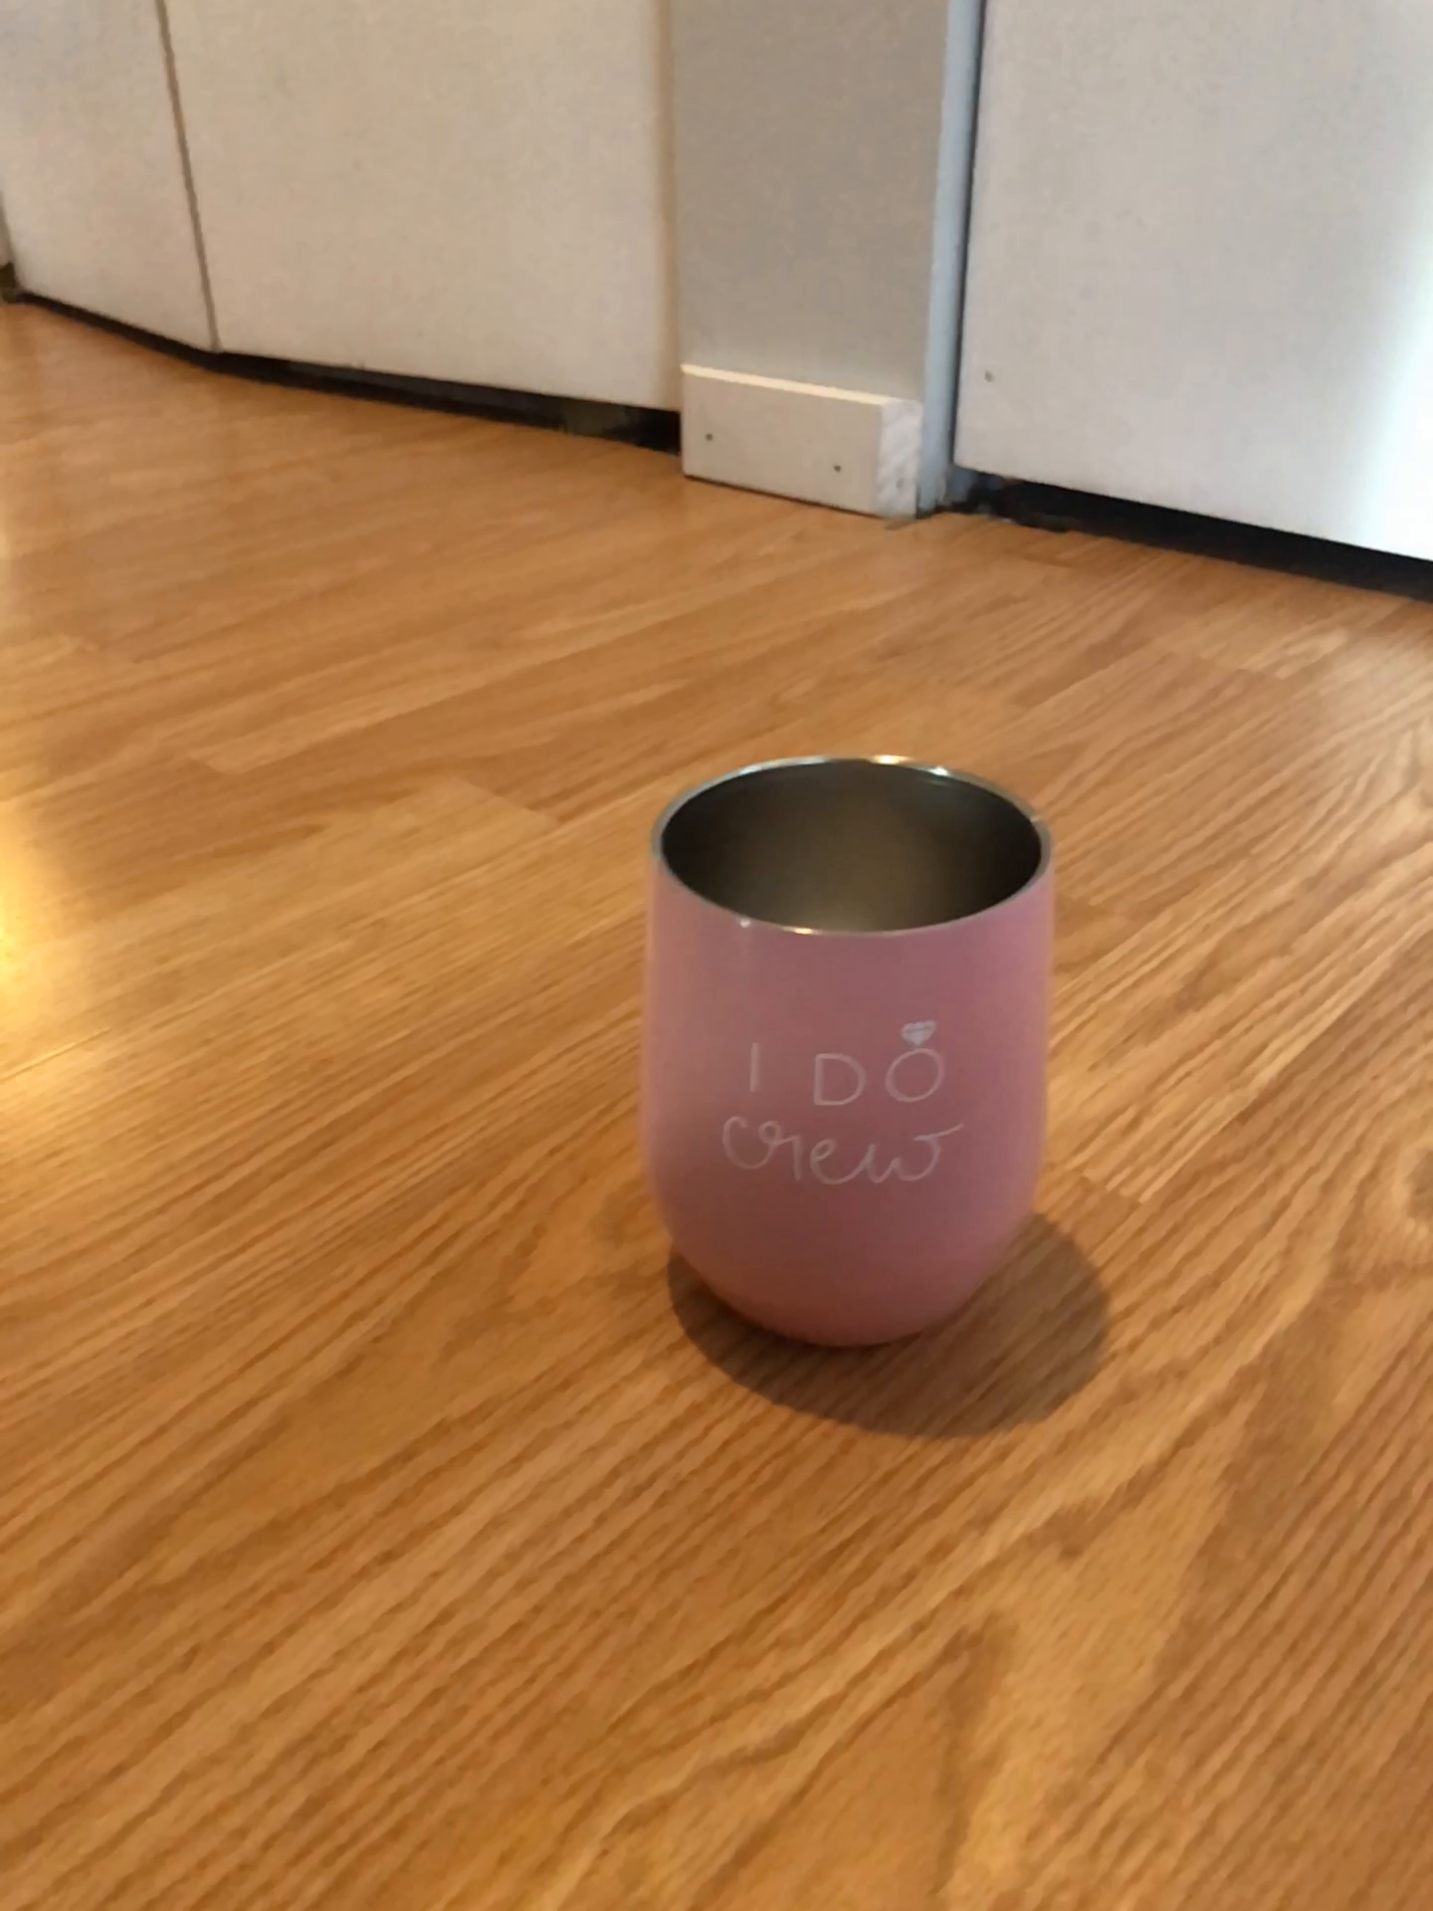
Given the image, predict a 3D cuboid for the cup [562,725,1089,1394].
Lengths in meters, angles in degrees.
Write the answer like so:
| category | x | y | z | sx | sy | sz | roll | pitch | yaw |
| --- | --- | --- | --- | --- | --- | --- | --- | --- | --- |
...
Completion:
| category | x | y | z | sx | sy | sz | roll | pitch | yaw |
| --- | --- | --- | --- | --- | --- | --- | --- | --- | --- |
| cup | 0.025 | 0.018 | 0.335 | 0.090 | 0.100 | 0.090 | 0 | 31 | 0 |
